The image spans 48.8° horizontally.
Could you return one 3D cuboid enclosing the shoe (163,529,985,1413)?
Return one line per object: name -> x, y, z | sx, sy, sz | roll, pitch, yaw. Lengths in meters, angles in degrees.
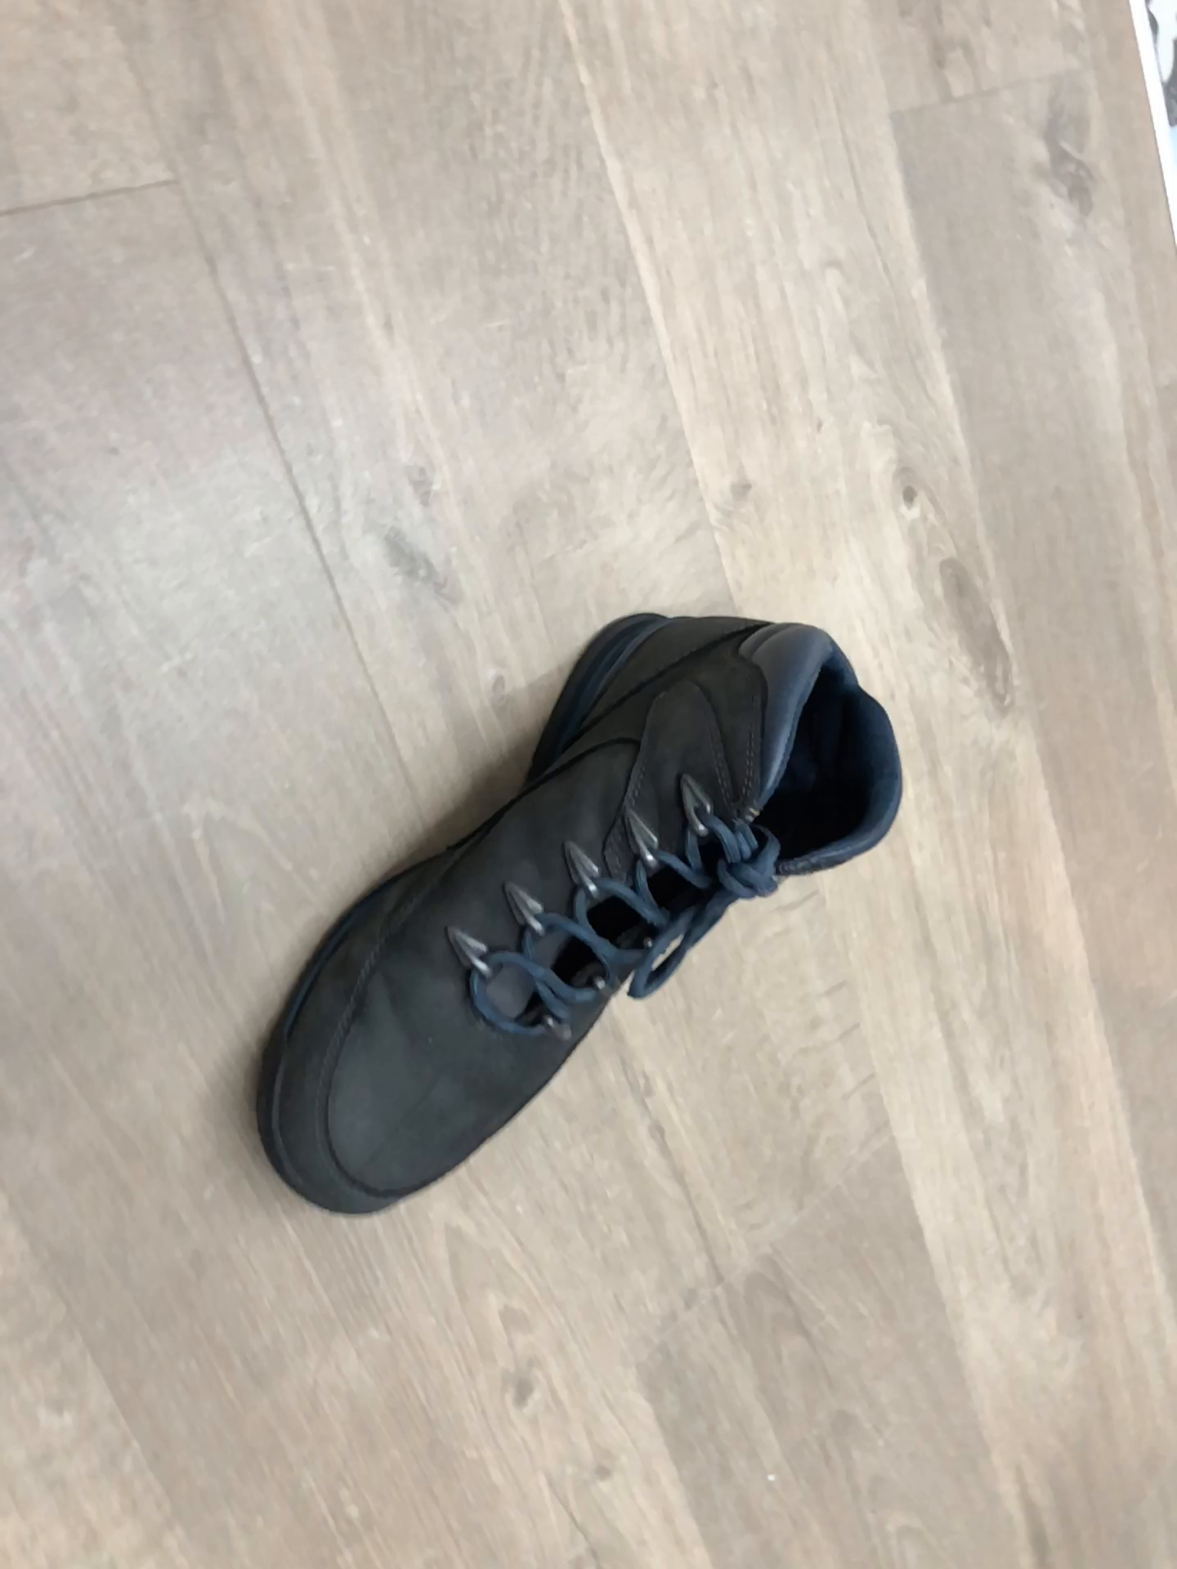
shoe -> 0.003, 0.049, 0.484 | 0.291, 0.129, 0.110 | -51, 119, -22
